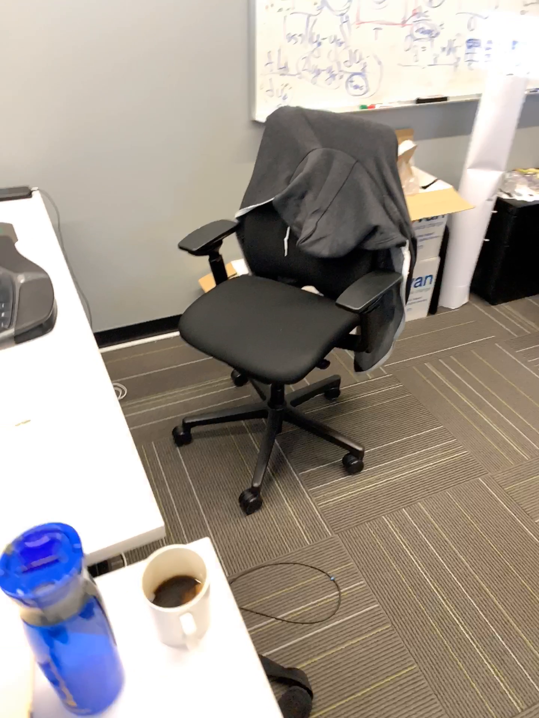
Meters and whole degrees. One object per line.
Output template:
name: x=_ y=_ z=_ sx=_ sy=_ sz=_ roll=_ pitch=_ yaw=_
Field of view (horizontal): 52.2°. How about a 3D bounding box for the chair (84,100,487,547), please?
chair: x=0.038 y=-0.164 z=1.748 sx=0.773 sy=0.993 sz=0.732 roll=30 pitch=46 yaw=33
